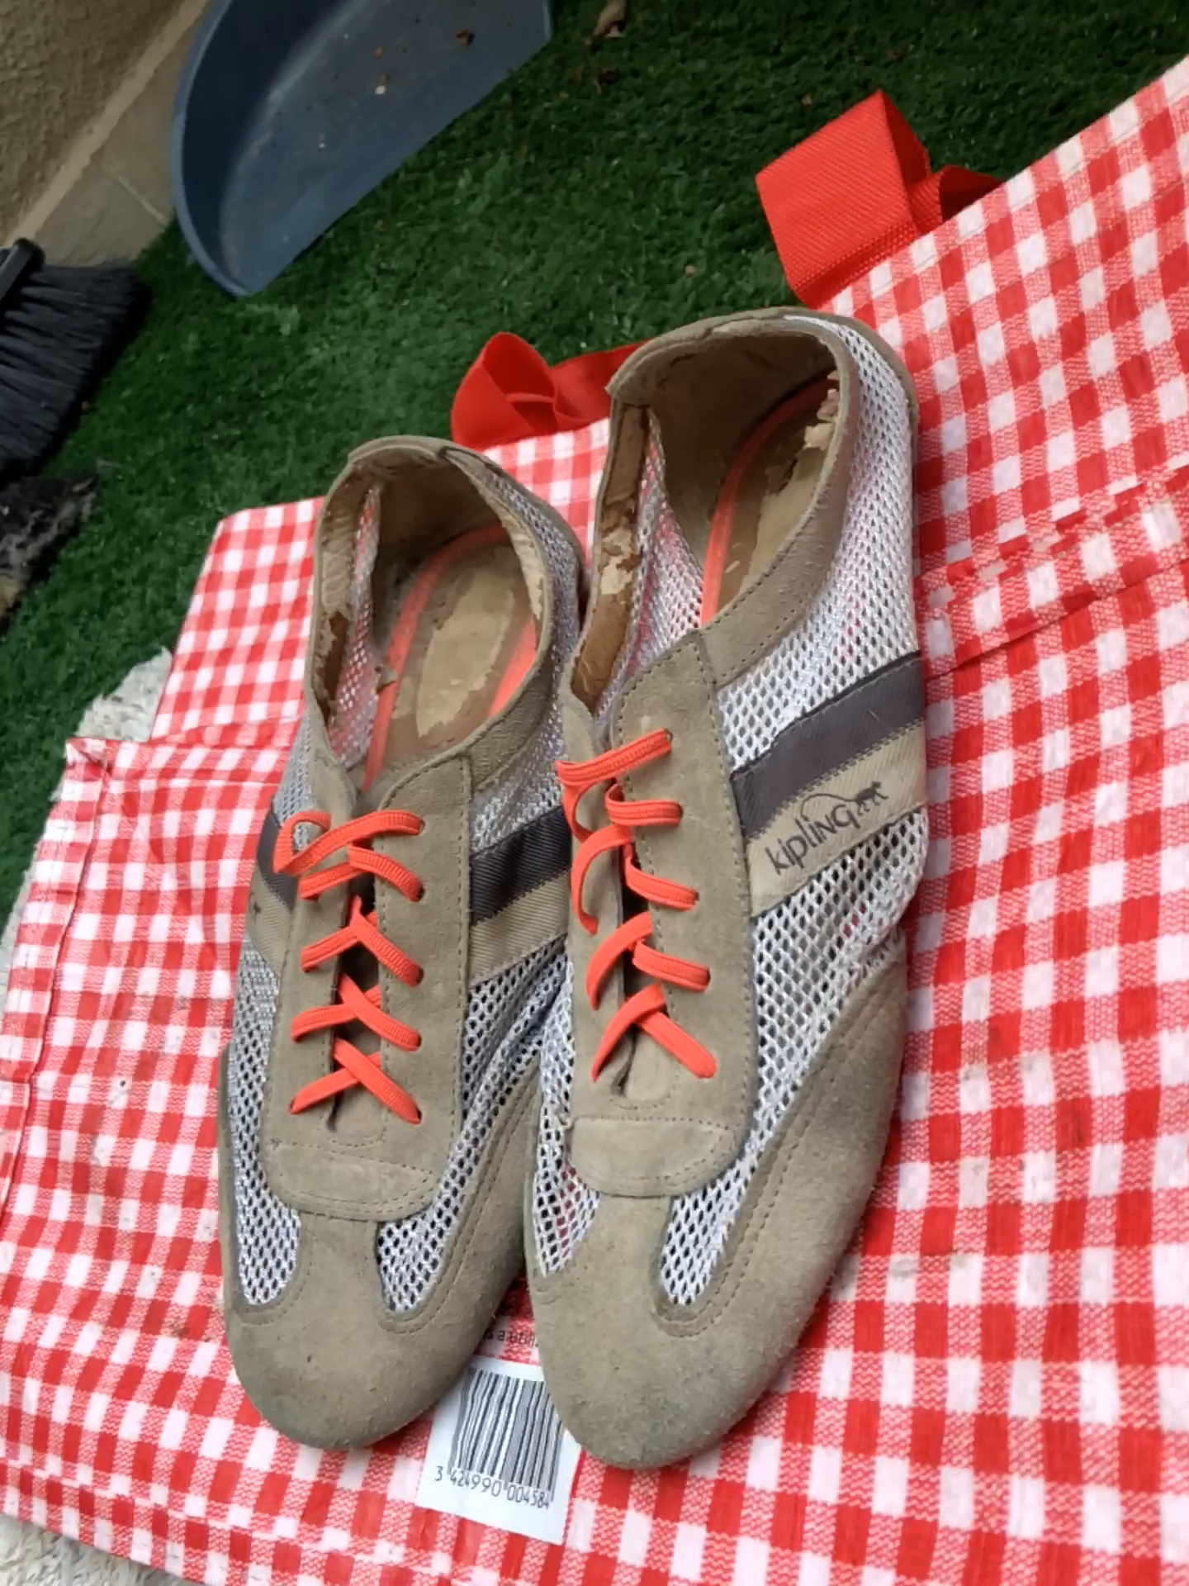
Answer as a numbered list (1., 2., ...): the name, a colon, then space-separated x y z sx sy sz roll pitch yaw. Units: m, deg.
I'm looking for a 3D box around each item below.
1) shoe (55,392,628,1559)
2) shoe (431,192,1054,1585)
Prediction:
1. shoe: -0.051 0.032 0.310 0.100 0.050 0.240 -5 71 20
2. shoe: 0.022 0.018 0.255 0.100 0.050 0.230 -20 64 51
